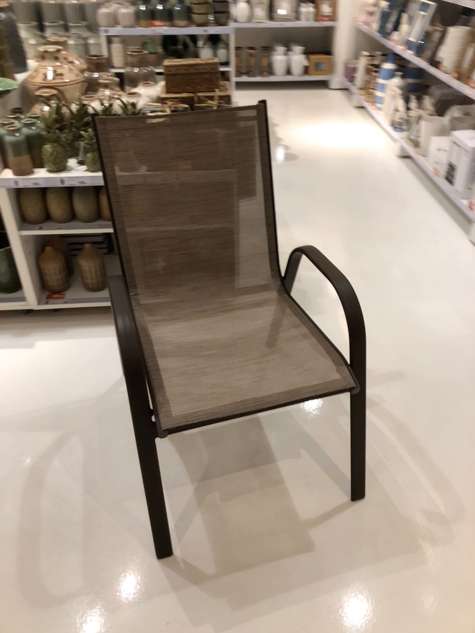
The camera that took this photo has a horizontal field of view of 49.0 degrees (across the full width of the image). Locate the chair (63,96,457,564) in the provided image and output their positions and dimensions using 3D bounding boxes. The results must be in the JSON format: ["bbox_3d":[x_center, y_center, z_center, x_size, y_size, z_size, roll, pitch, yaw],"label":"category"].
[{"bbox_3d":[-0.028,-0.020,1.283,0.601,0.793,0.705,-10,37,-14],"label":"chair"}]
